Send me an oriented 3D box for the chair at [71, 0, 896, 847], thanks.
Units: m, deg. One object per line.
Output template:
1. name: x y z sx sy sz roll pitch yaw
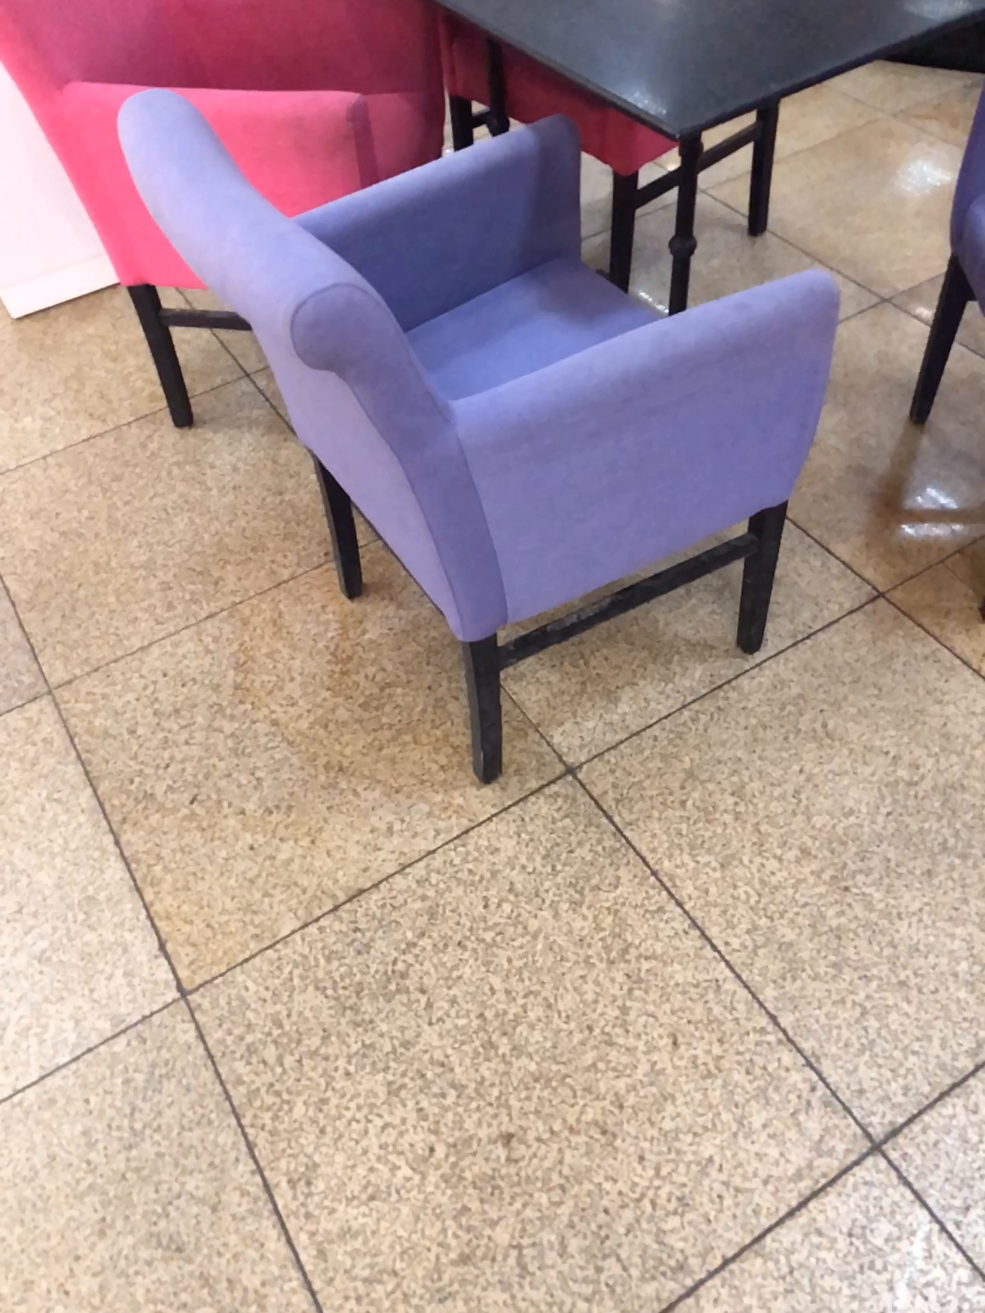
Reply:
1. chair: -0.011 -0.322 1.417 0.661 0.817 0.571 -25 52 -16
